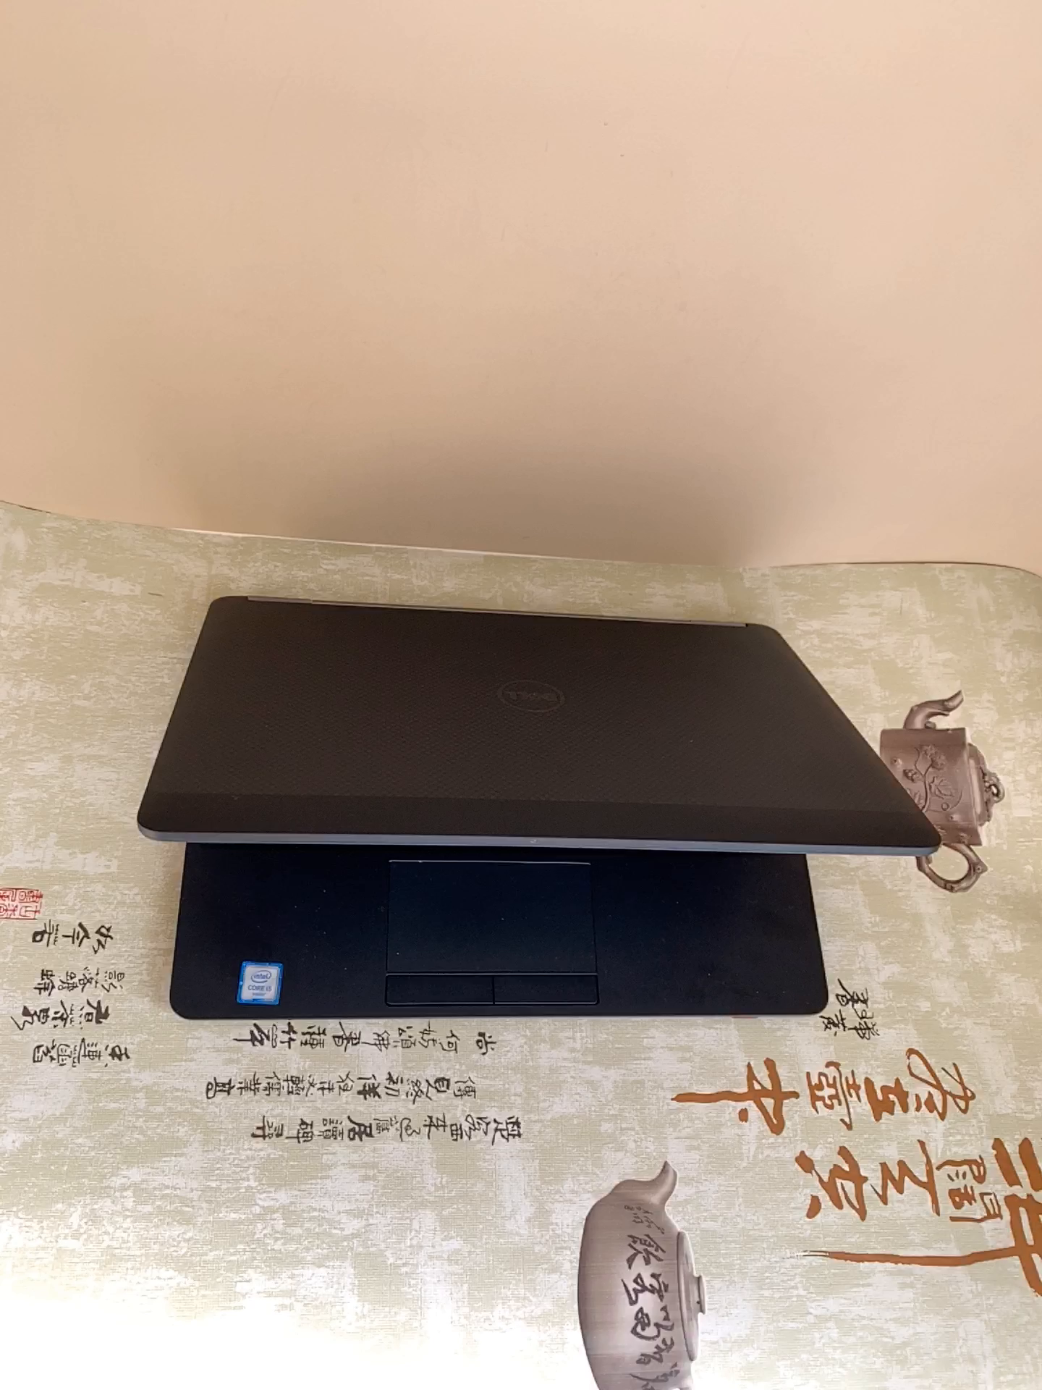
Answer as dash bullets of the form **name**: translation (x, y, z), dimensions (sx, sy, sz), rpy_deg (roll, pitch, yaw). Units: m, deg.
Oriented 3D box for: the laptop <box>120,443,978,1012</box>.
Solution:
- **laptop**: translation (0.005, 0.023, 0.487), dimensions (0.308, 0.136, 0.212), rpy_deg (2, 63, -9)
